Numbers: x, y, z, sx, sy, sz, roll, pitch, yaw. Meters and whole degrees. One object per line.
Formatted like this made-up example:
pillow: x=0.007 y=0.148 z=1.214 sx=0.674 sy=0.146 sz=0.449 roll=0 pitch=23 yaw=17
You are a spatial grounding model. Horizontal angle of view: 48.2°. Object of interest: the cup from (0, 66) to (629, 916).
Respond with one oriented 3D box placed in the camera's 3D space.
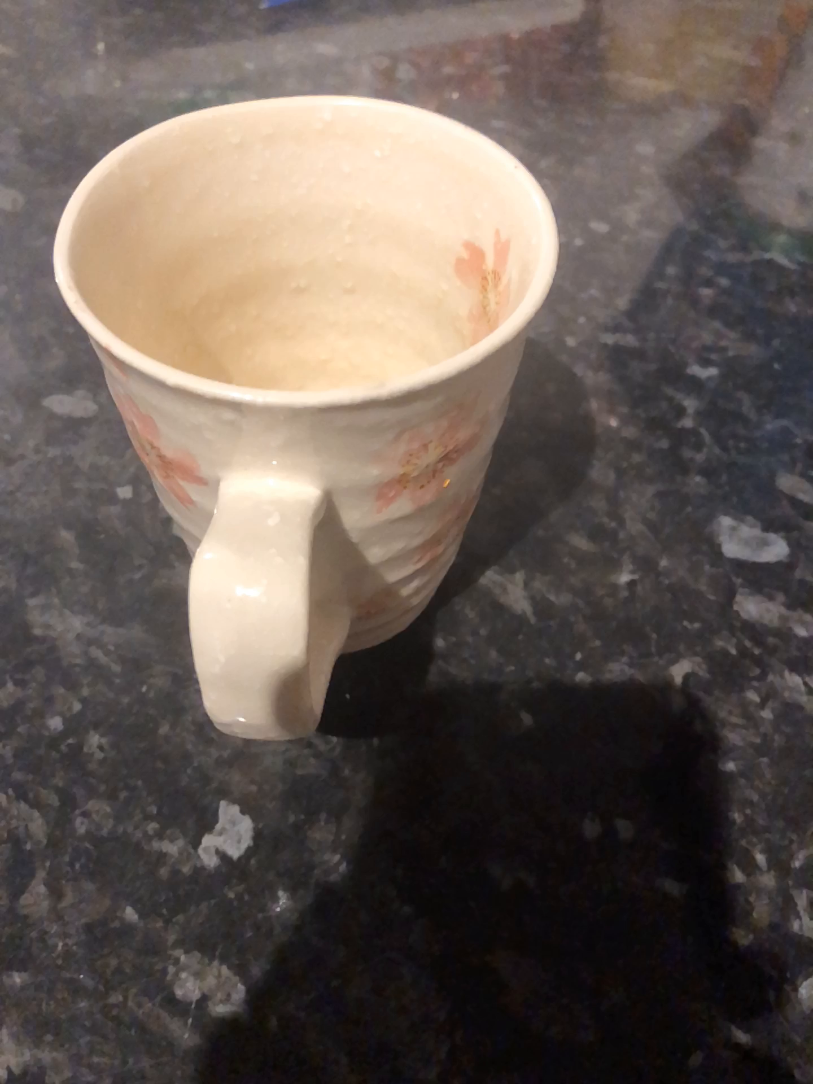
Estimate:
cup: x=-0.018 y=-0.010 z=0.181 sx=0.090 sy=0.099 sz=0.131 roll=3 pitch=53 yaw=0
